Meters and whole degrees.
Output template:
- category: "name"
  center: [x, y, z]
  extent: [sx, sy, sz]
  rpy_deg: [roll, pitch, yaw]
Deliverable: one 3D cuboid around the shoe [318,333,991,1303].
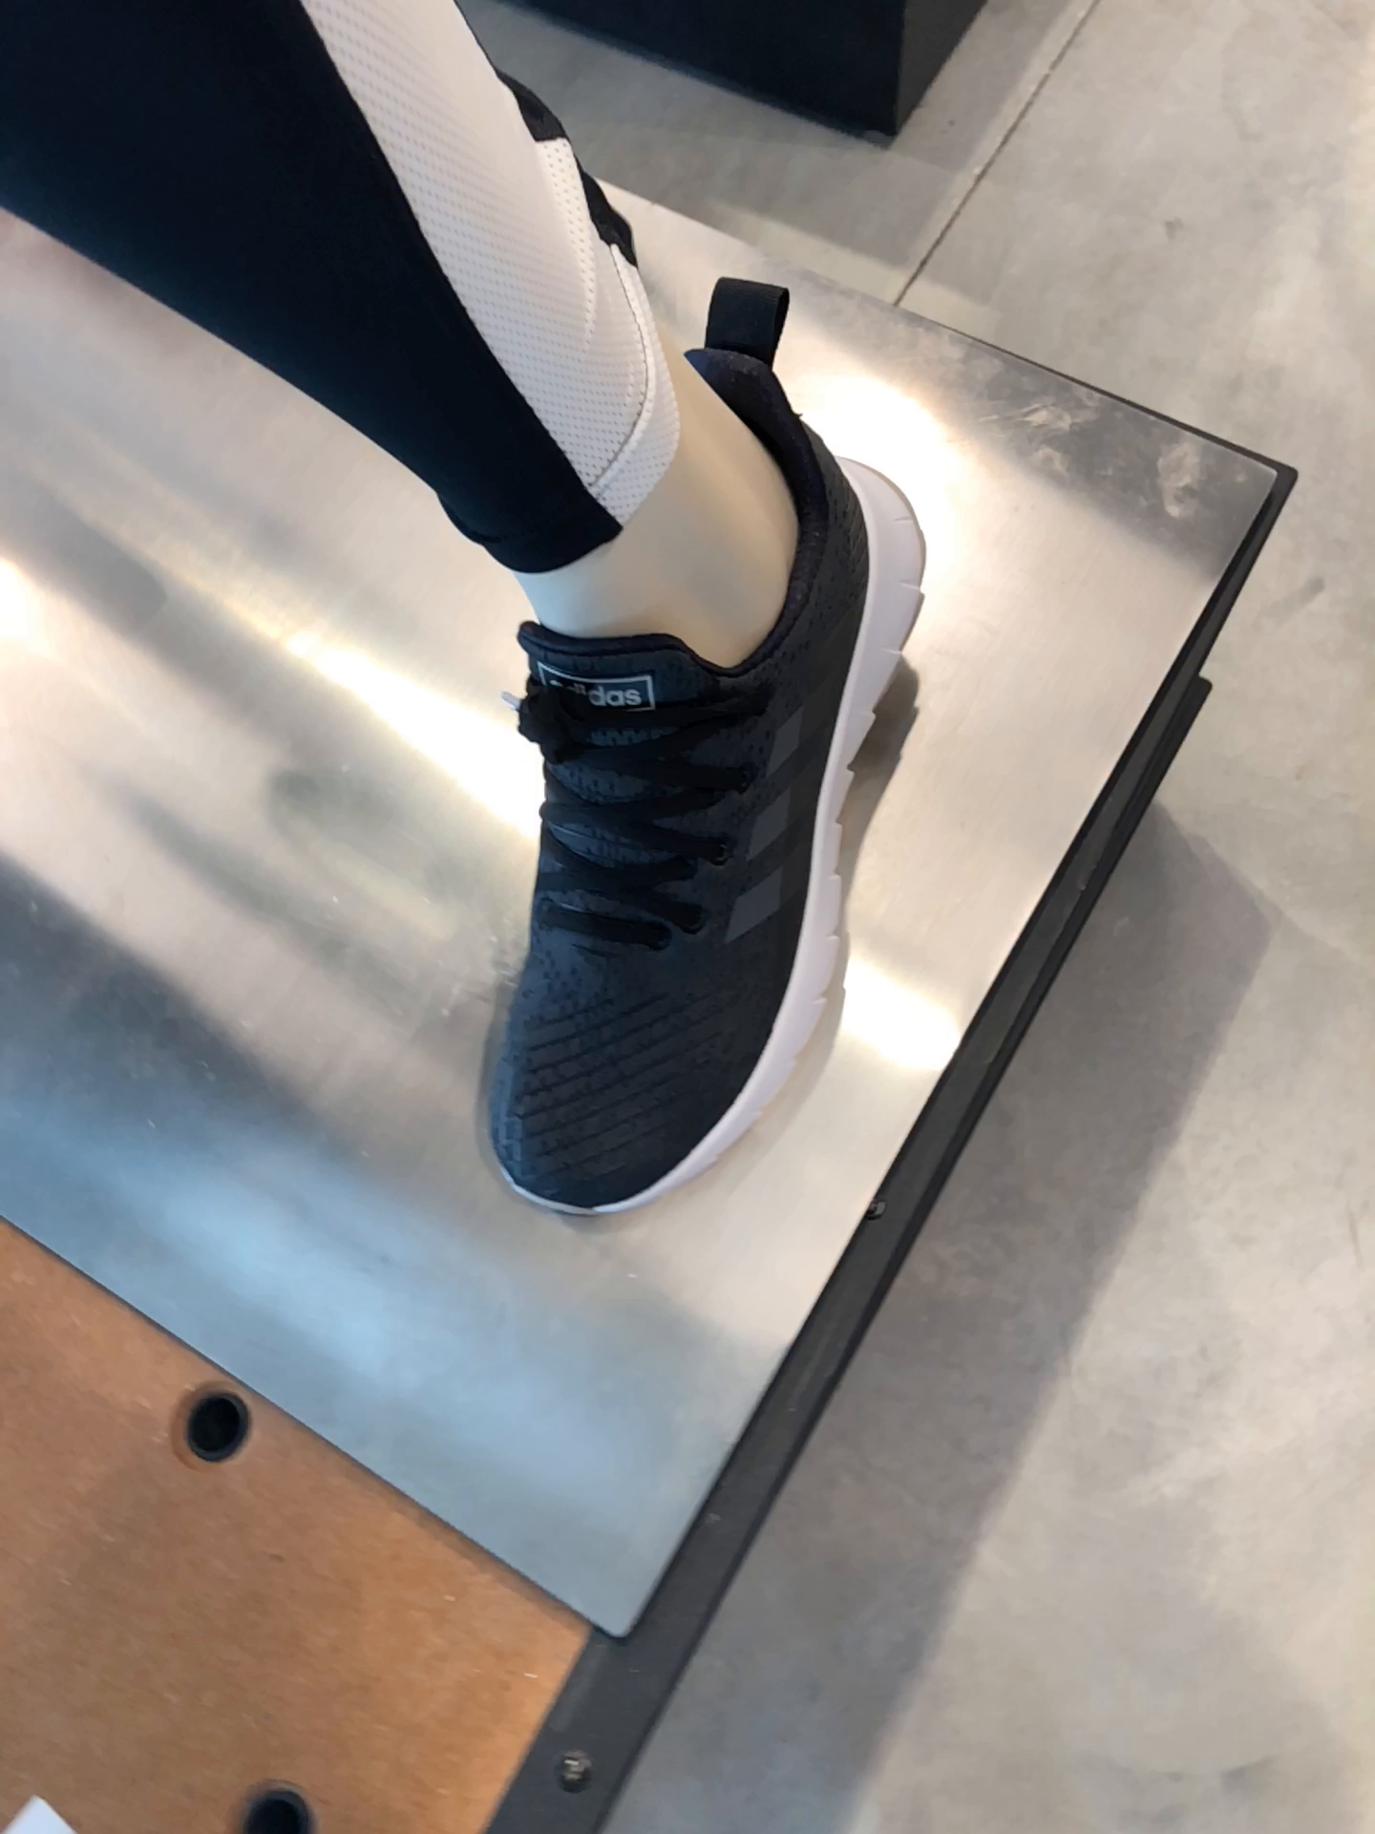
- category: "shoe"
  center: [0.001, -0.033, 0.511]
  extent: [0.110, 0.100, 0.290]
  rpy_deg: [16, 79, 19]
